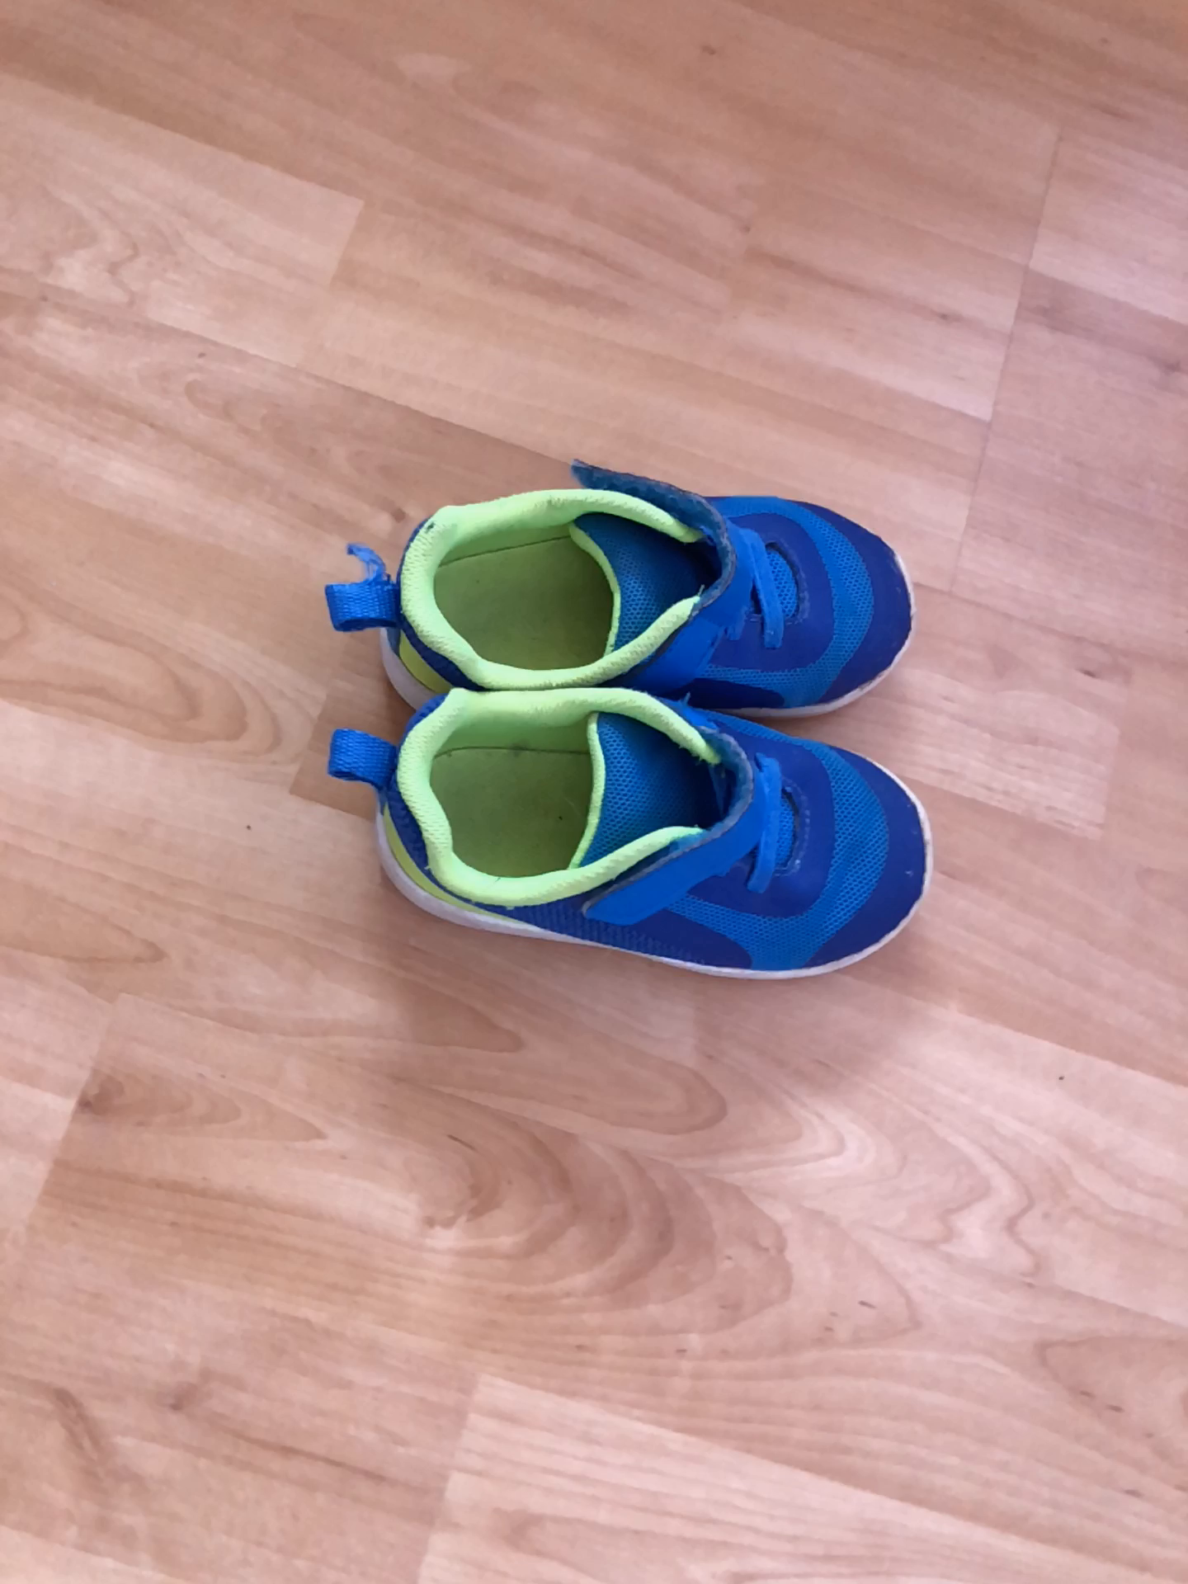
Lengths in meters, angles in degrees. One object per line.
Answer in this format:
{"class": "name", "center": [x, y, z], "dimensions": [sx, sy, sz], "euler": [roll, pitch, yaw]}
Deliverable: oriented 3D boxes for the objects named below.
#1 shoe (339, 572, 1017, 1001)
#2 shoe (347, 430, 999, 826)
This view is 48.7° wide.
{"class": "shoe", "center": [0.020, 0.004, 0.348], "dimensions": [0.160, 0.070, 0.080], "euler": [7, 74, -7]}
{"class": "shoe", "center": [0.016, -0.045, 0.369], "dimensions": [0.160, 0.070, 0.080], "euler": [-5, 76, -10]}
